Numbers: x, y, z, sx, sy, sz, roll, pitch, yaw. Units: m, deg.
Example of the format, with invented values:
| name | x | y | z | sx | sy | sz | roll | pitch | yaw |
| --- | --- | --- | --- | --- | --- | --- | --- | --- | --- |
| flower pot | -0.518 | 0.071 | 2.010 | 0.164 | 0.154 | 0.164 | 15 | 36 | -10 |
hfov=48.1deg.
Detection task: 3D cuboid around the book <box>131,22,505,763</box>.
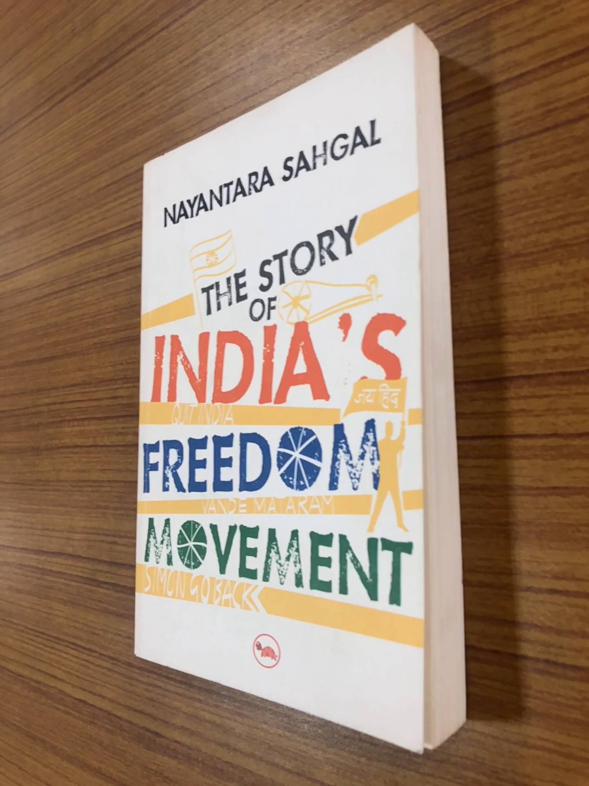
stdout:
| name | x | y | z | sx | sy | sz | roll | pitch | yaw |
| --- | --- | --- | --- | --- | --- | --- | --- | --- | --- |
| book | -0.002 | 0.001 | 0.222 | 0.131 | 0.030 | 0.190 | -7 | 81 | 41 |
